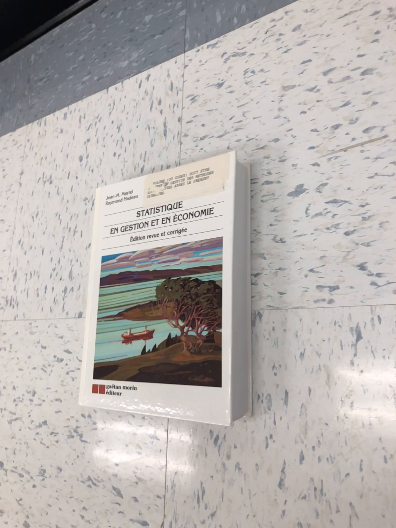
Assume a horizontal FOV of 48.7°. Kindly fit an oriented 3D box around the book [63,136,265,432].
[{"bbox_3d":[-0.035,0.023,0.429,0.191,0.060,0.240,-7,75,35],"label":"book"}]
